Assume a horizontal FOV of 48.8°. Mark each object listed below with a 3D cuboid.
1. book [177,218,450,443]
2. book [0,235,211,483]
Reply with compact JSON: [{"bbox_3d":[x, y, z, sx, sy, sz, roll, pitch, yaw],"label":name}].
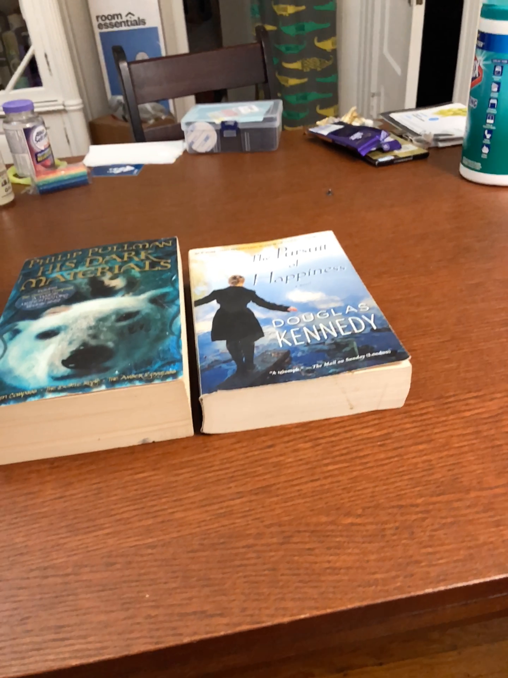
[{"bbox_3d":[0.029,-0.027,0.488,0.180,0.040,0.251,-8,35,-4],"label":"book"},{"bbox_3d":[-0.139,-0.004,0.485,0.180,0.050,0.251,-8,35,-4],"label":"book"}]
